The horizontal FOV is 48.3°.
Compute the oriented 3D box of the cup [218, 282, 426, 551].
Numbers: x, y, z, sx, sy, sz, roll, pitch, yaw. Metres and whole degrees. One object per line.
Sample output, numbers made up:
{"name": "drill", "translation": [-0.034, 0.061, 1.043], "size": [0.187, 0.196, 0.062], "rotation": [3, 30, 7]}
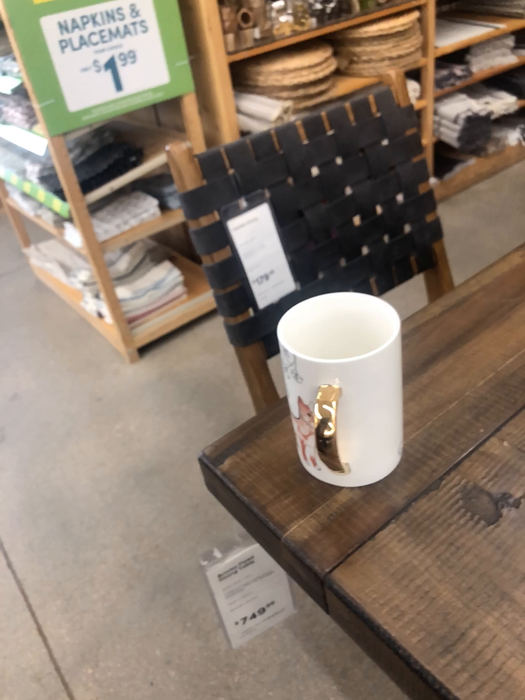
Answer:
{"name": "cup", "translation": [0.049, 0.038, 0.391], "size": [0.097, 0.115, 0.120], "rotation": [6, 38, 22]}
